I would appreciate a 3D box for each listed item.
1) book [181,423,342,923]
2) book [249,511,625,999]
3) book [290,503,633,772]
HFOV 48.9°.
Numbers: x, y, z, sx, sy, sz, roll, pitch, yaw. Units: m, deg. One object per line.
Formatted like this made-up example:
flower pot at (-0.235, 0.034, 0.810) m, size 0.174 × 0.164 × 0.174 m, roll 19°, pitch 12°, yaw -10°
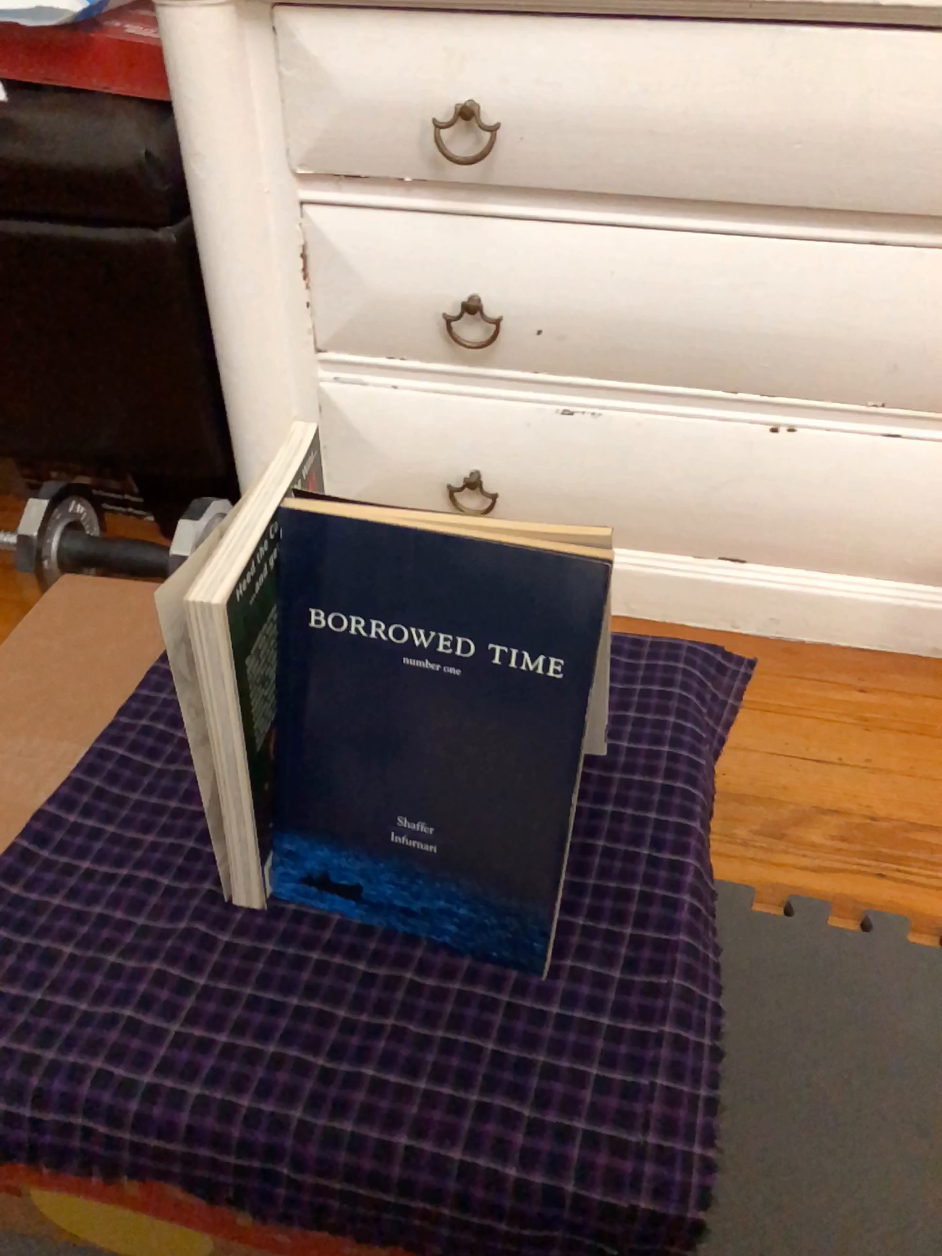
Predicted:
book at (-0.092, 0.022, 0.486) m, size 0.020 × 0.189 × 0.141 m, roll 11°, pitch 40°, yaw 4°
book at (-0.023, 0.058, 0.450) m, size 0.150 × 0.199 × 0.010 m, roll 10°, pitch 19°, yaw 11°
book at (0.004, 0.013, 0.502) m, size 0.140 × 0.199 × 0.010 m, roll 6°, pitch 58°, yaw 10°
